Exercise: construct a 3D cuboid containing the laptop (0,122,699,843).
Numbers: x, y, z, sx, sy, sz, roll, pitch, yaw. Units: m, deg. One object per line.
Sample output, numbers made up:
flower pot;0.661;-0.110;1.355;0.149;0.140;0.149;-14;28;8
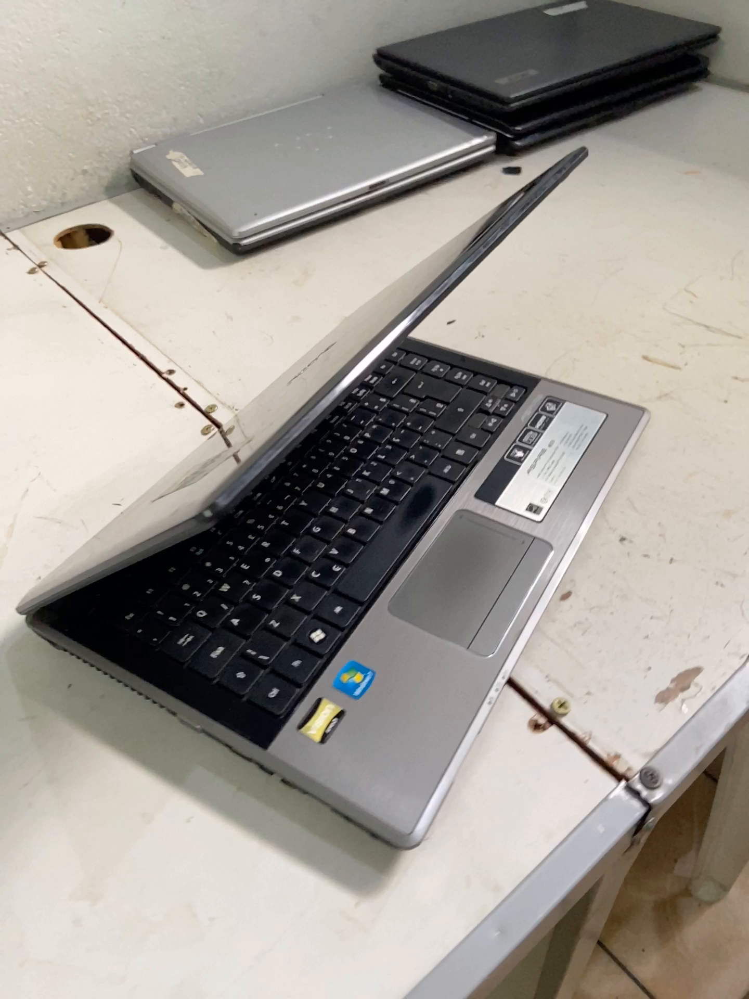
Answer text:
laptop;0.003;-0.053;0.420;0.226;0.157;0.336;21;48;22
